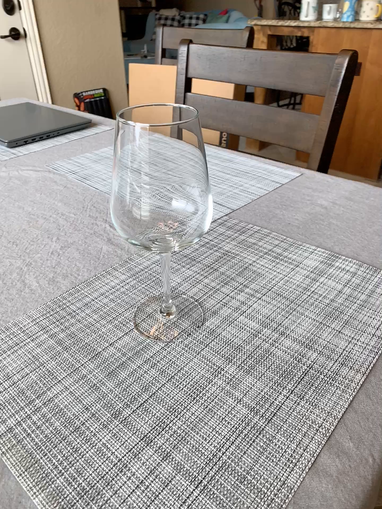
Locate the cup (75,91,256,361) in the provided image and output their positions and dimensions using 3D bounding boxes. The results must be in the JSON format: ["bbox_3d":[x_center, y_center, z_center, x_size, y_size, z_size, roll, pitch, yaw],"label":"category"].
[{"bbox_3d":[-0.019,-0.029,0.376,0.100,0.214,0.107,0,32,0],"label":"cup"}]
